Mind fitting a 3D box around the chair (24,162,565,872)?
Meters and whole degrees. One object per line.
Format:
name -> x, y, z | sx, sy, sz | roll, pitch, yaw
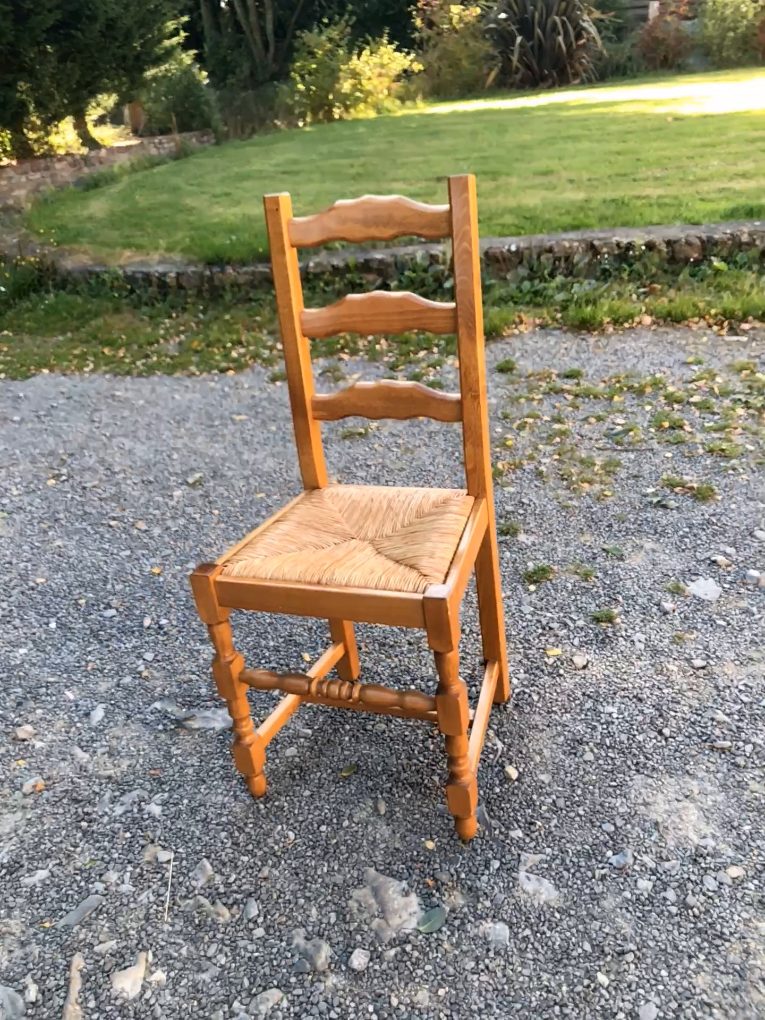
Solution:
chair -> -0.038, -0.016, 1.310 | 0.530, 0.885, 0.523 | 3, 27, 21
